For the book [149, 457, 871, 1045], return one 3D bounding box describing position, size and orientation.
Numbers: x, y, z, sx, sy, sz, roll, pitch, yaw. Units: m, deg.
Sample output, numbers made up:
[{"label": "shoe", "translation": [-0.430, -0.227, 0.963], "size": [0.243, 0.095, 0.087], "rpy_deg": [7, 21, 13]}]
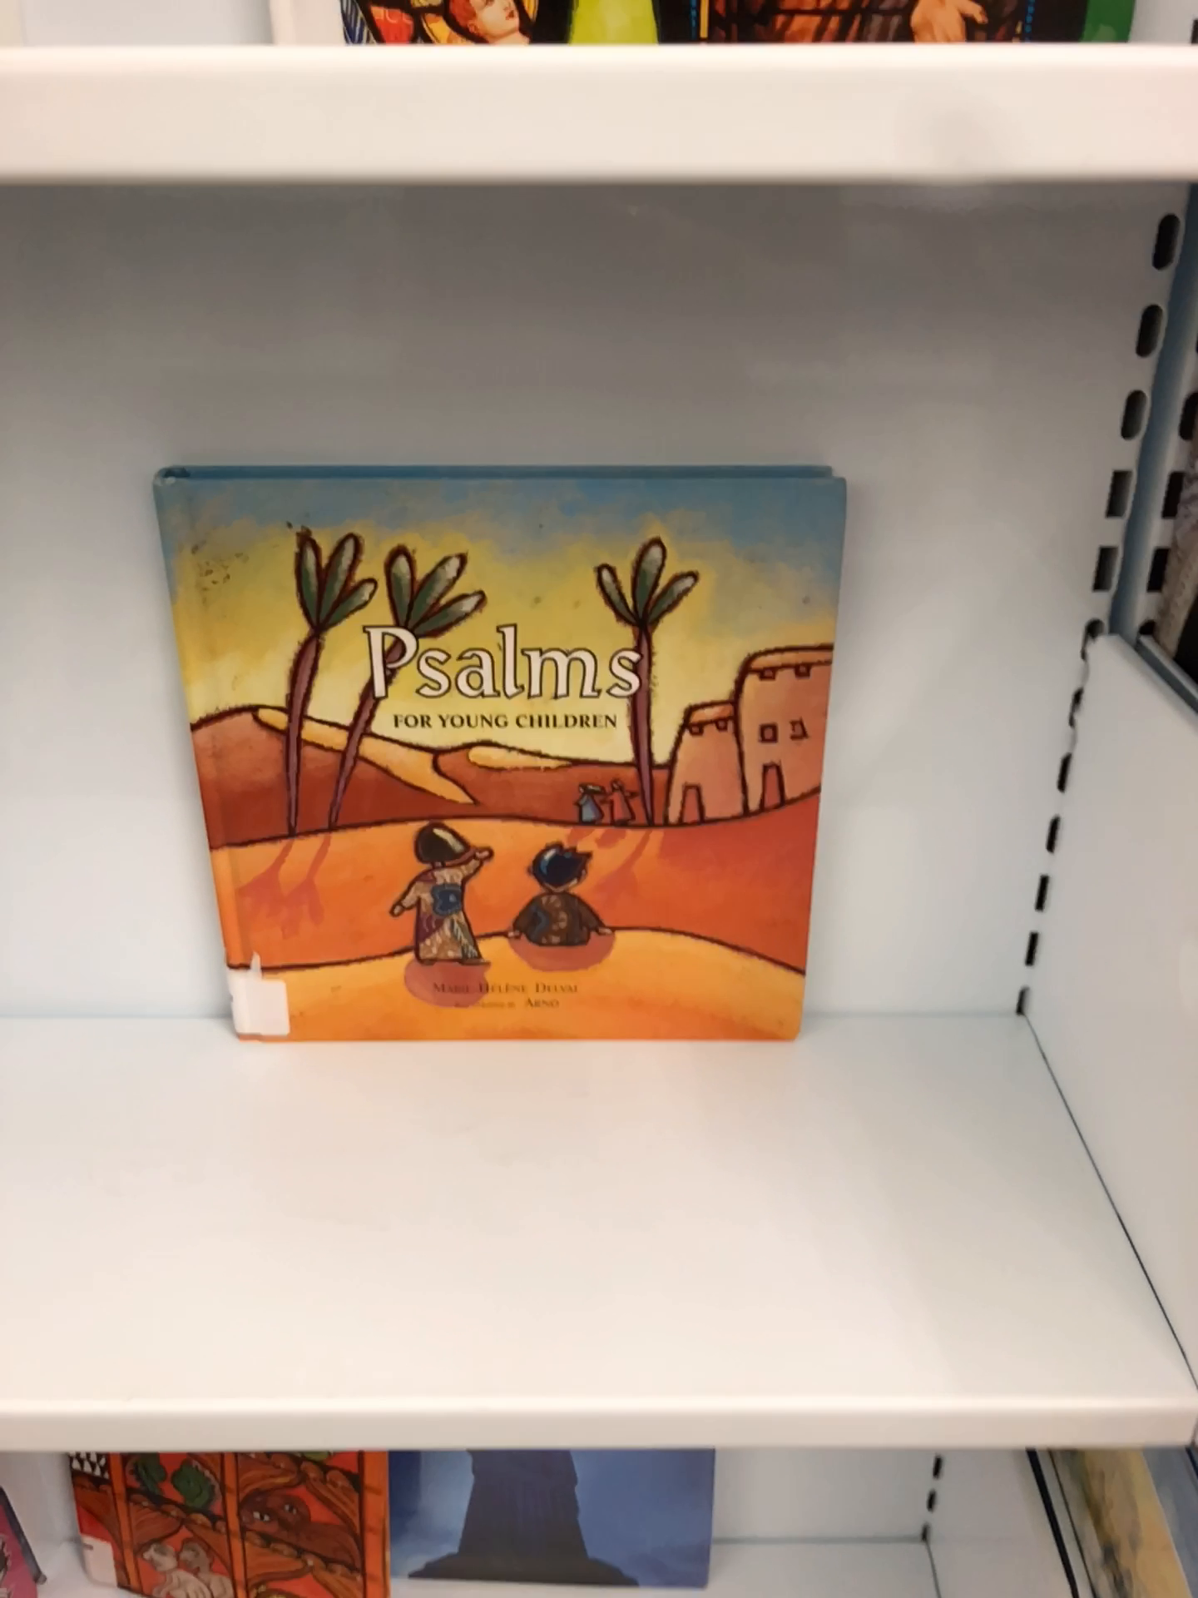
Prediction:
[{"label": "book", "translation": [-0.026, -0.008, 0.445], "size": [0.212, 0.205, 0.021], "rpy_deg": [0, 26, -1]}]
